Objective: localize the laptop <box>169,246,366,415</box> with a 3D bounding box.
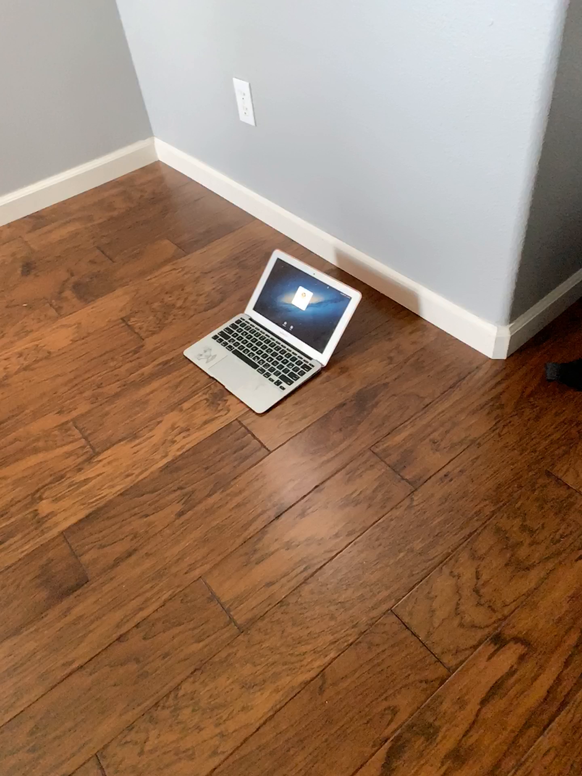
[{"bbox_3d":[-0.050,-0.145,1.335,0.323,0.117,0.294,-36,50,-22],"label":"laptop"}]
